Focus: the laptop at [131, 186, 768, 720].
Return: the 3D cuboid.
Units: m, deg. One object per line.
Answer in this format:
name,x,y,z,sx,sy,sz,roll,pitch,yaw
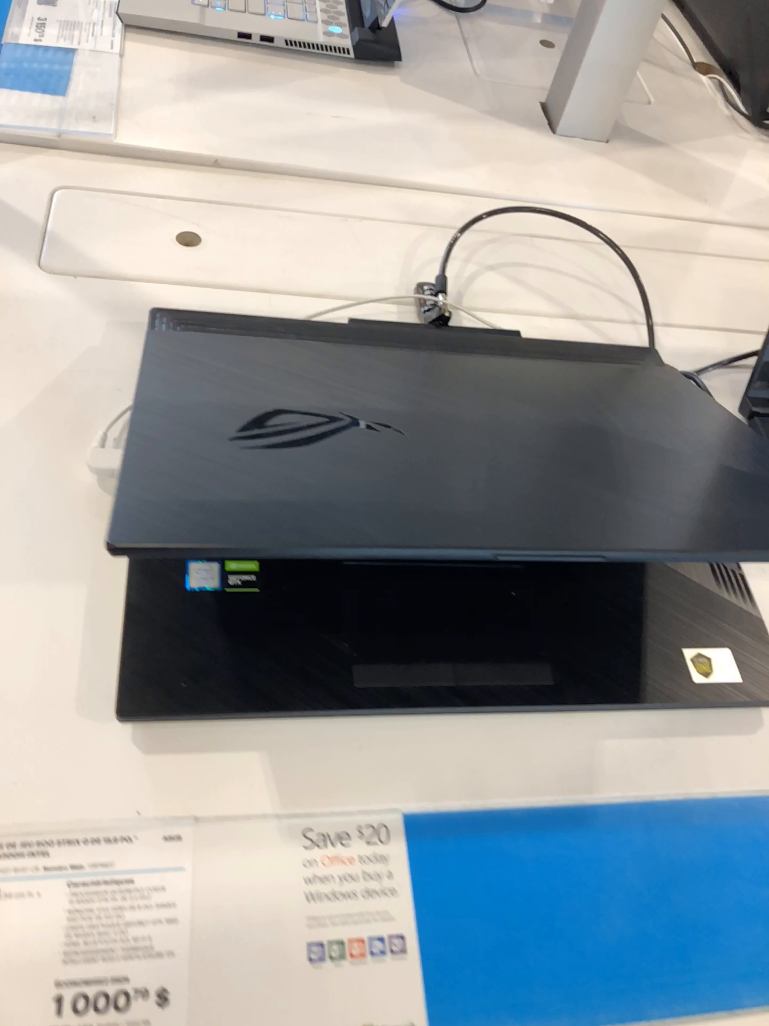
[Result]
laptop,0.051,-0.040,0.452,0.331,0.097,0.263,1,54,-11
